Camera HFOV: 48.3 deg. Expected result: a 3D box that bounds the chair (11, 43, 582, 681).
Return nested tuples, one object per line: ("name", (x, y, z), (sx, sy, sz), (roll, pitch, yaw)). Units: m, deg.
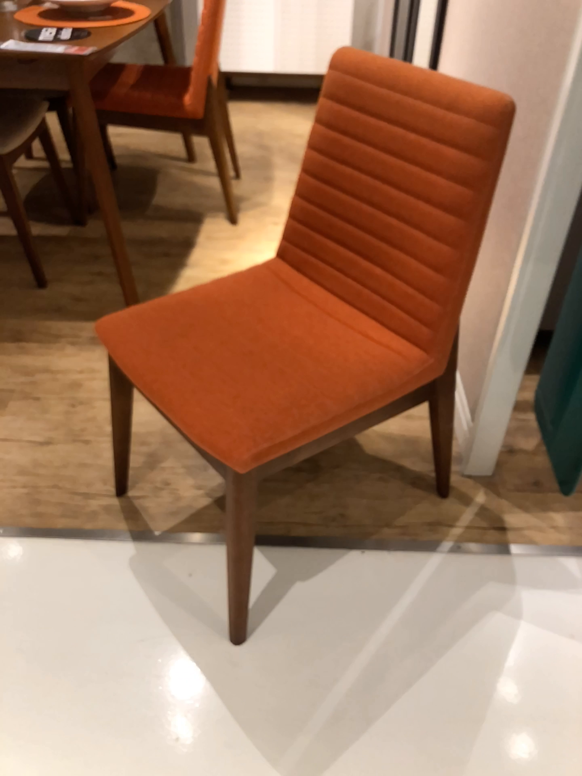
("chair", (0.013, -0.075, 1.159), (0.632, 0.814, 0.532), (-26, 47, -30))
